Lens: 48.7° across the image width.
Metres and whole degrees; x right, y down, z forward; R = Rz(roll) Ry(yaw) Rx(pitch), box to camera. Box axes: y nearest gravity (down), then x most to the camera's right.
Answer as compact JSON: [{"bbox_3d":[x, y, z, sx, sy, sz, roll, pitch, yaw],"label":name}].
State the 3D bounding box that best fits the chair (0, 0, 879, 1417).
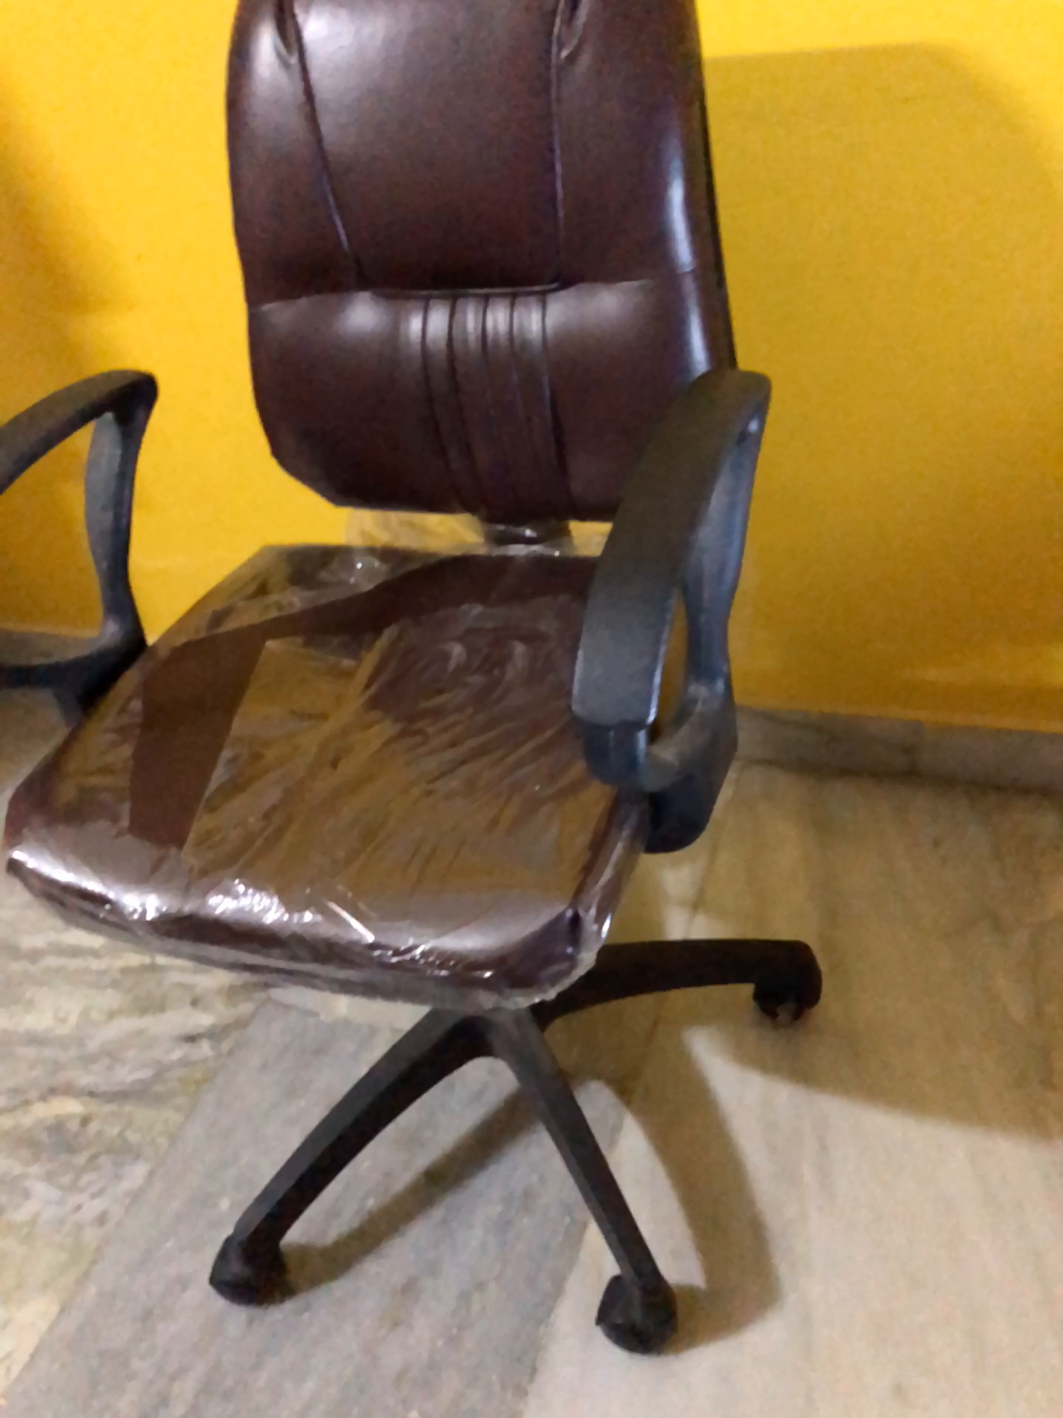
[{"bbox_3d":[-0.111,-0.050,0.938,0.690,0.974,0.684,3,39,19],"label":"chair"}]
